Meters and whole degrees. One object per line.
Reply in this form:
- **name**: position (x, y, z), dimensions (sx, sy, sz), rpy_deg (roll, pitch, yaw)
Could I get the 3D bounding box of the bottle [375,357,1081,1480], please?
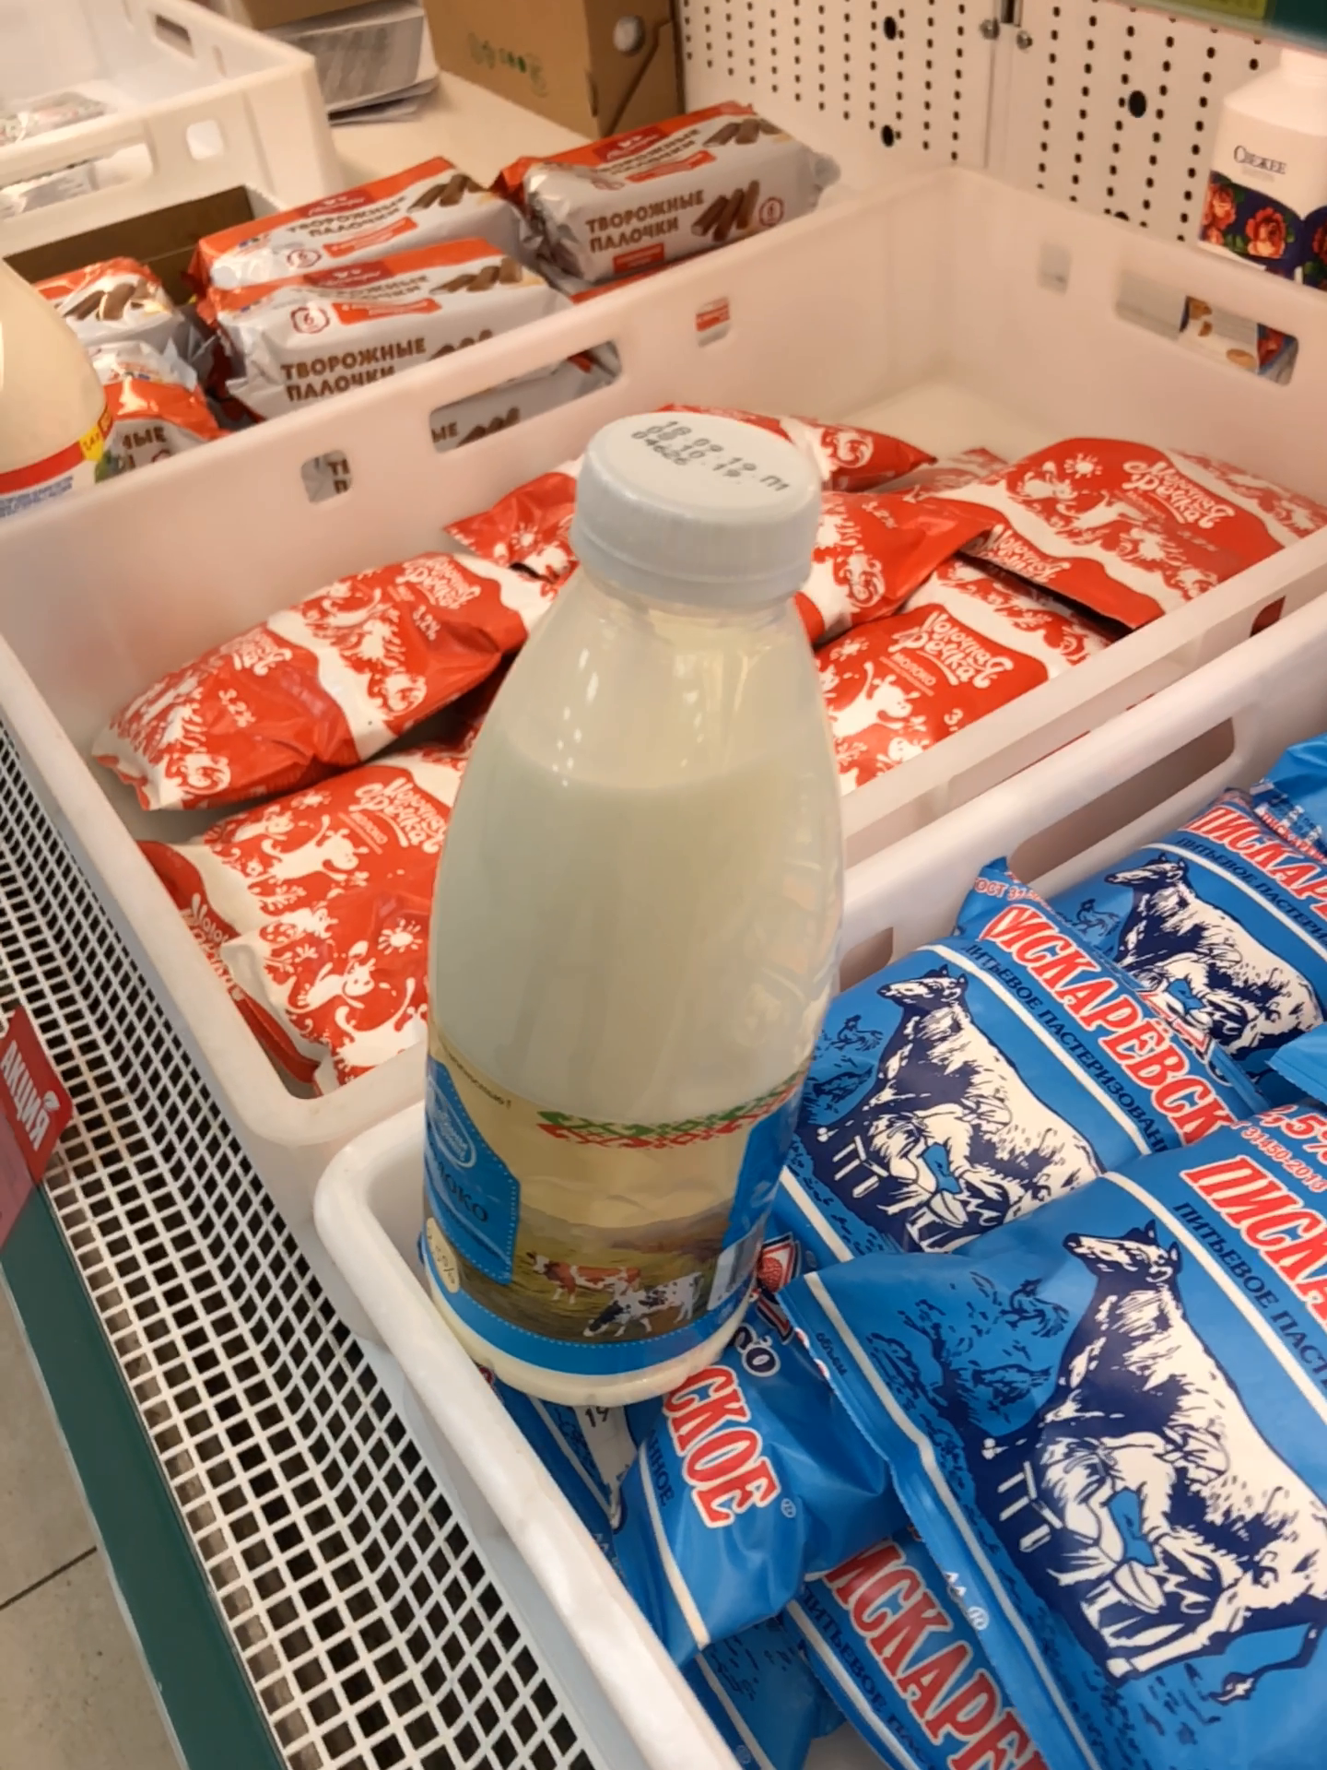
- **bottle**: position (-0.005, 0.015, 0.327), dimensions (0.090, 0.229, 0.090), rpy_deg (6, 38, -5)
